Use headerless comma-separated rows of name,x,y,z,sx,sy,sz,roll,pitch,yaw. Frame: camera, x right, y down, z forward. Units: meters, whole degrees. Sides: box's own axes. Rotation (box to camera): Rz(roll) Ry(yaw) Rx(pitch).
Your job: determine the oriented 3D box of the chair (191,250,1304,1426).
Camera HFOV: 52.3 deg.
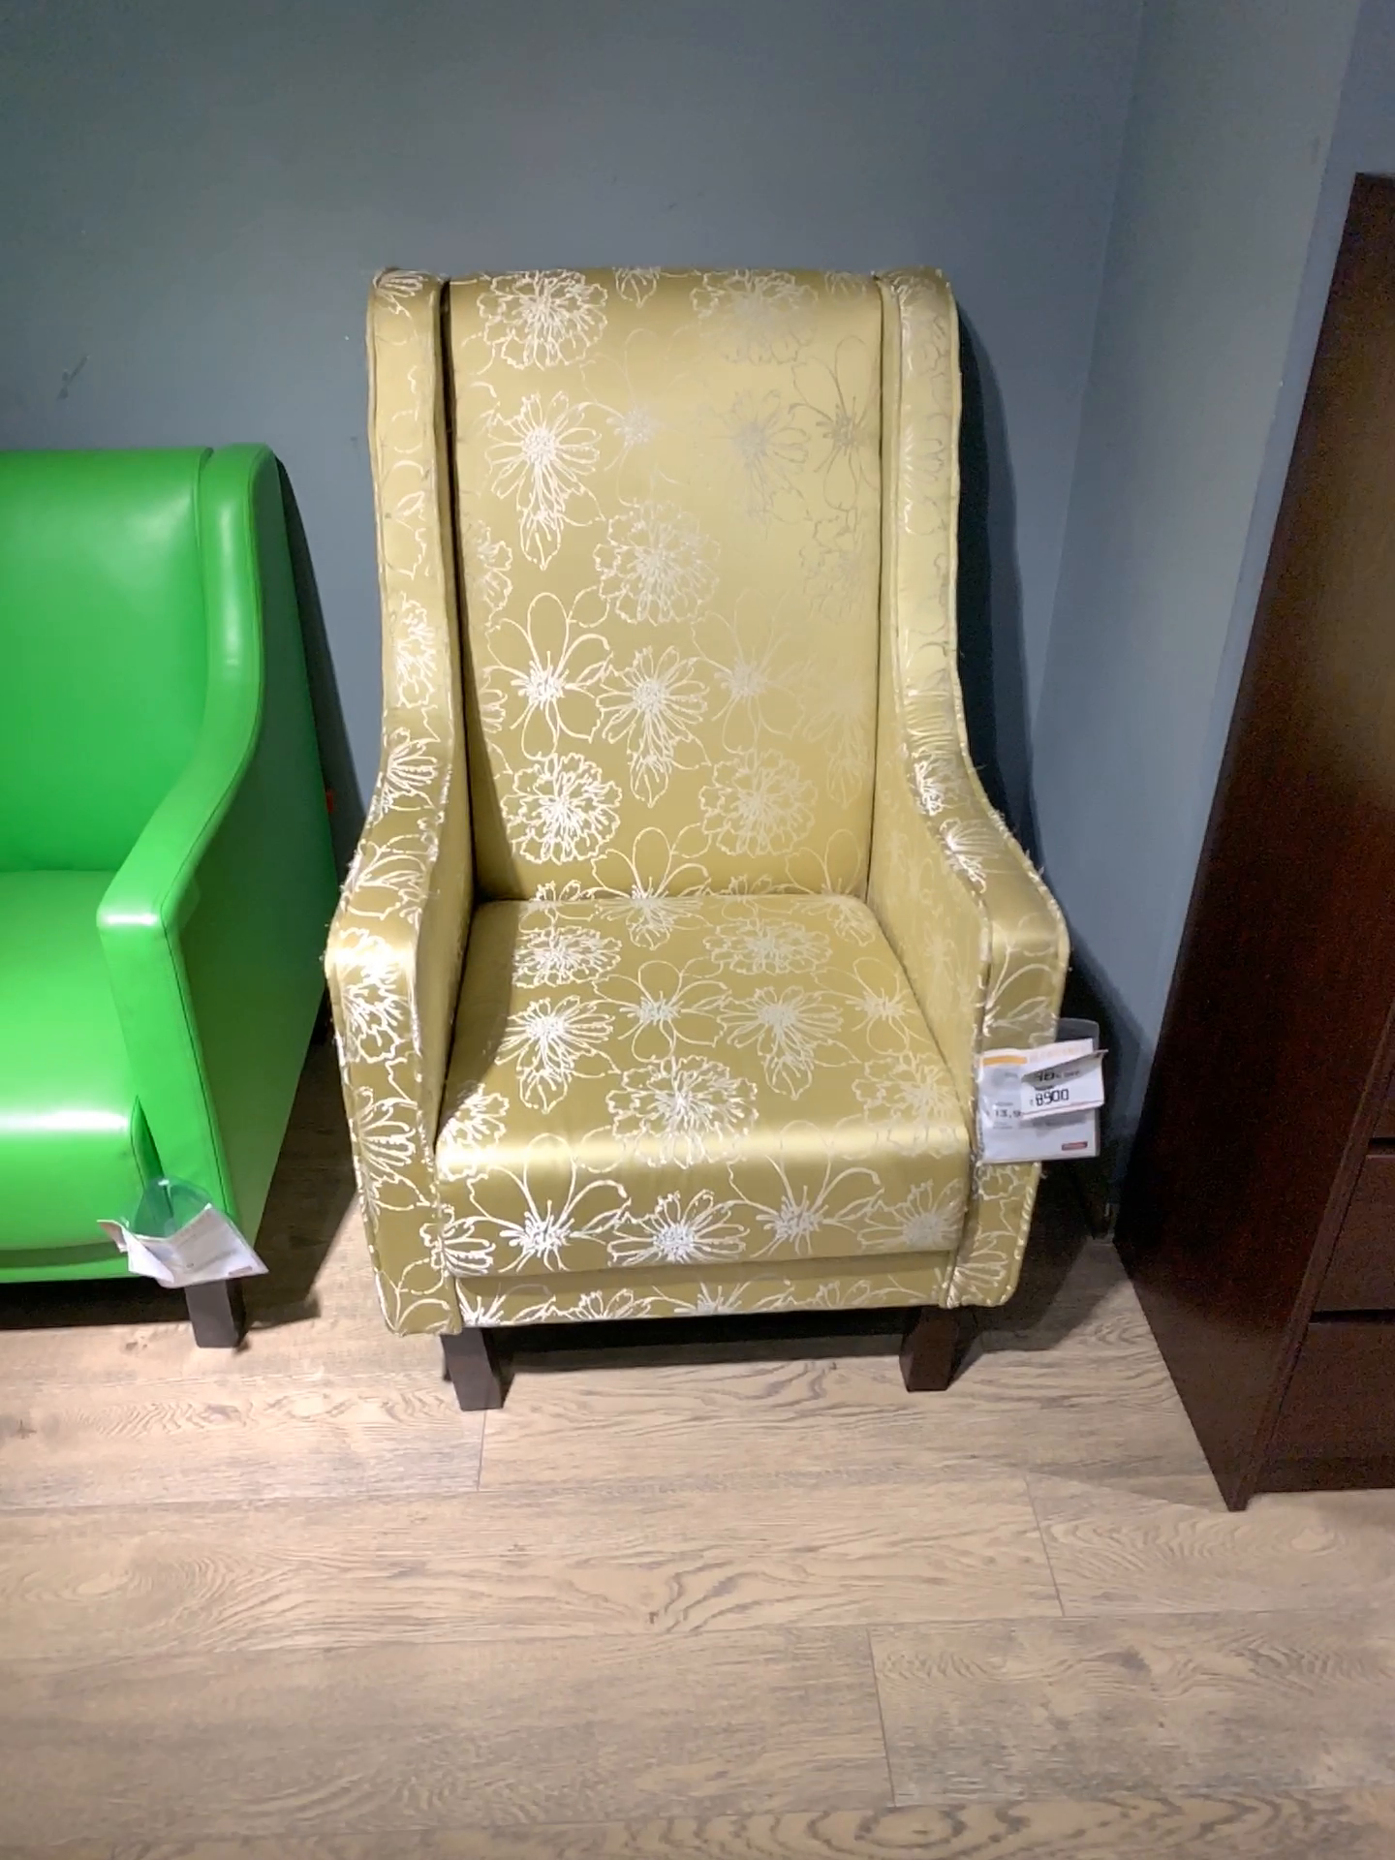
chair,0.008,-0.173,1.664,0.780,1.025,0.954,-1,32,-3
